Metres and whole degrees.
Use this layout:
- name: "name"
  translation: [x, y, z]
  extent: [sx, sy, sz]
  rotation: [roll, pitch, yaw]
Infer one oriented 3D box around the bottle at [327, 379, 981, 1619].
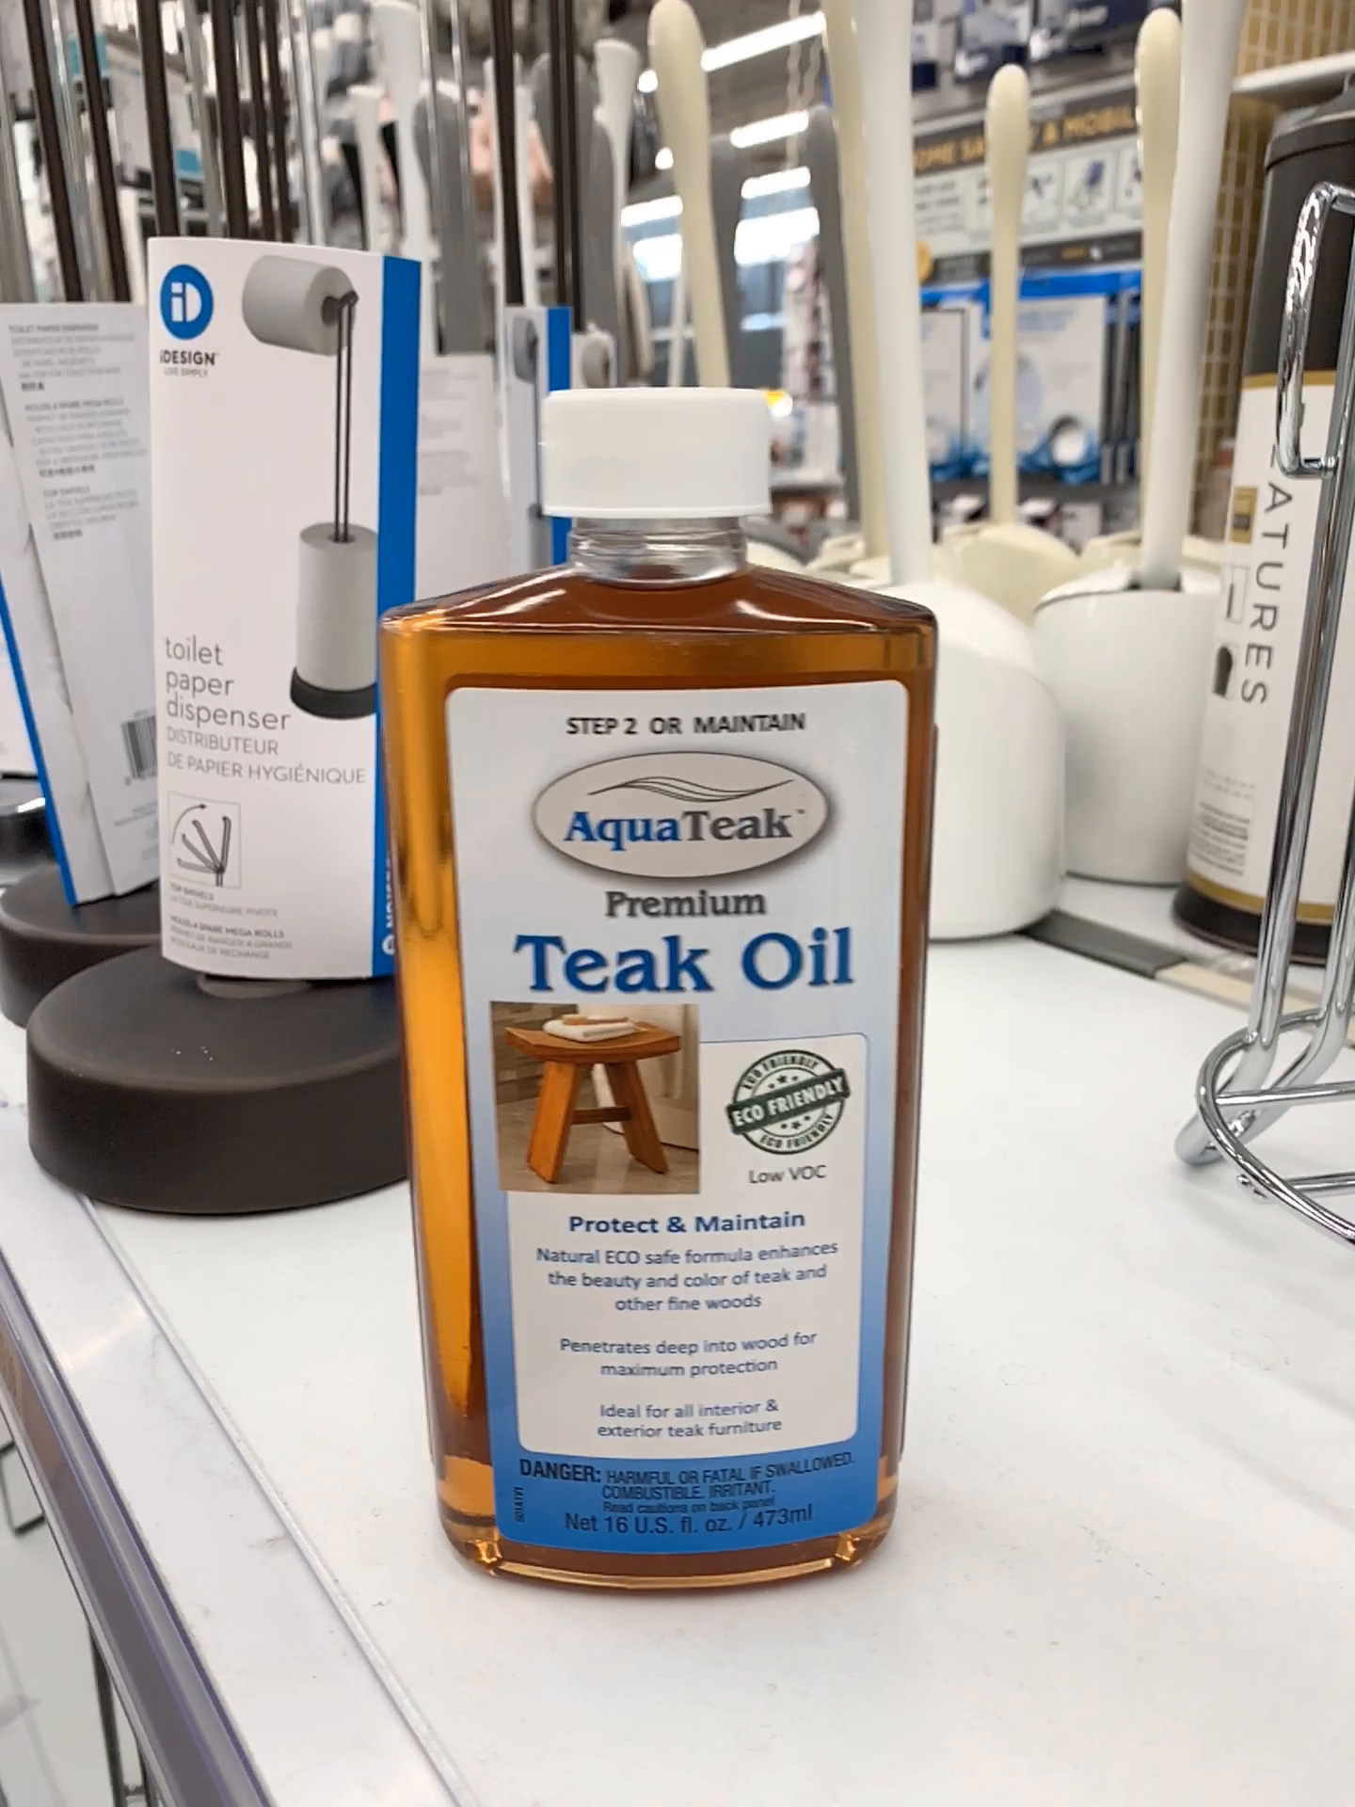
- name: "bottle"
  translation: [-0.002, 0.021, 0.243]
  extent: [0.088, 0.207, 0.046]
  rotation: [-1, 18, -2]
